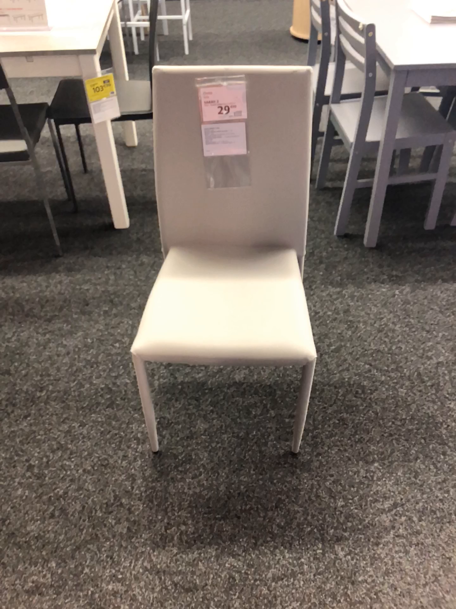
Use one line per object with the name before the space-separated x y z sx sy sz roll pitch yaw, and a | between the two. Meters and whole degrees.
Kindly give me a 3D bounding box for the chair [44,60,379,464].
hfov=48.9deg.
chair | -0.014 -0.073 1.225 0.500 0.815 0.543 0 43 1
